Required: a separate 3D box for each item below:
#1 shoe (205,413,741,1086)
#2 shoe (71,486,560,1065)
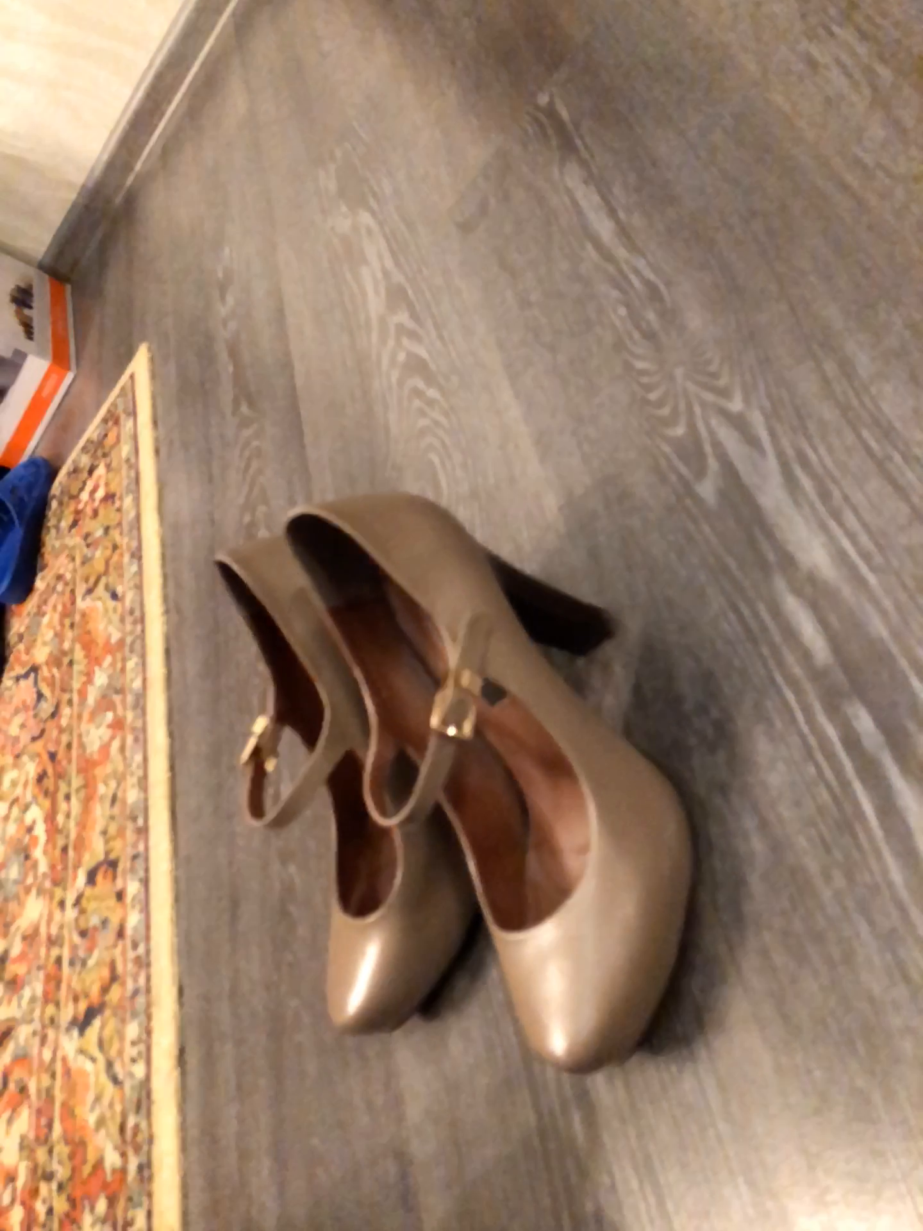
[{"bbox_3d":[0.006,0.060,0.385,0.090,0.159,0.211,-30,50,41],"label":"shoe"},{"bbox_3d":[-0.061,0.075,0.465,0.090,0.149,0.220,-2,71,52],"label":"shoe"}]
